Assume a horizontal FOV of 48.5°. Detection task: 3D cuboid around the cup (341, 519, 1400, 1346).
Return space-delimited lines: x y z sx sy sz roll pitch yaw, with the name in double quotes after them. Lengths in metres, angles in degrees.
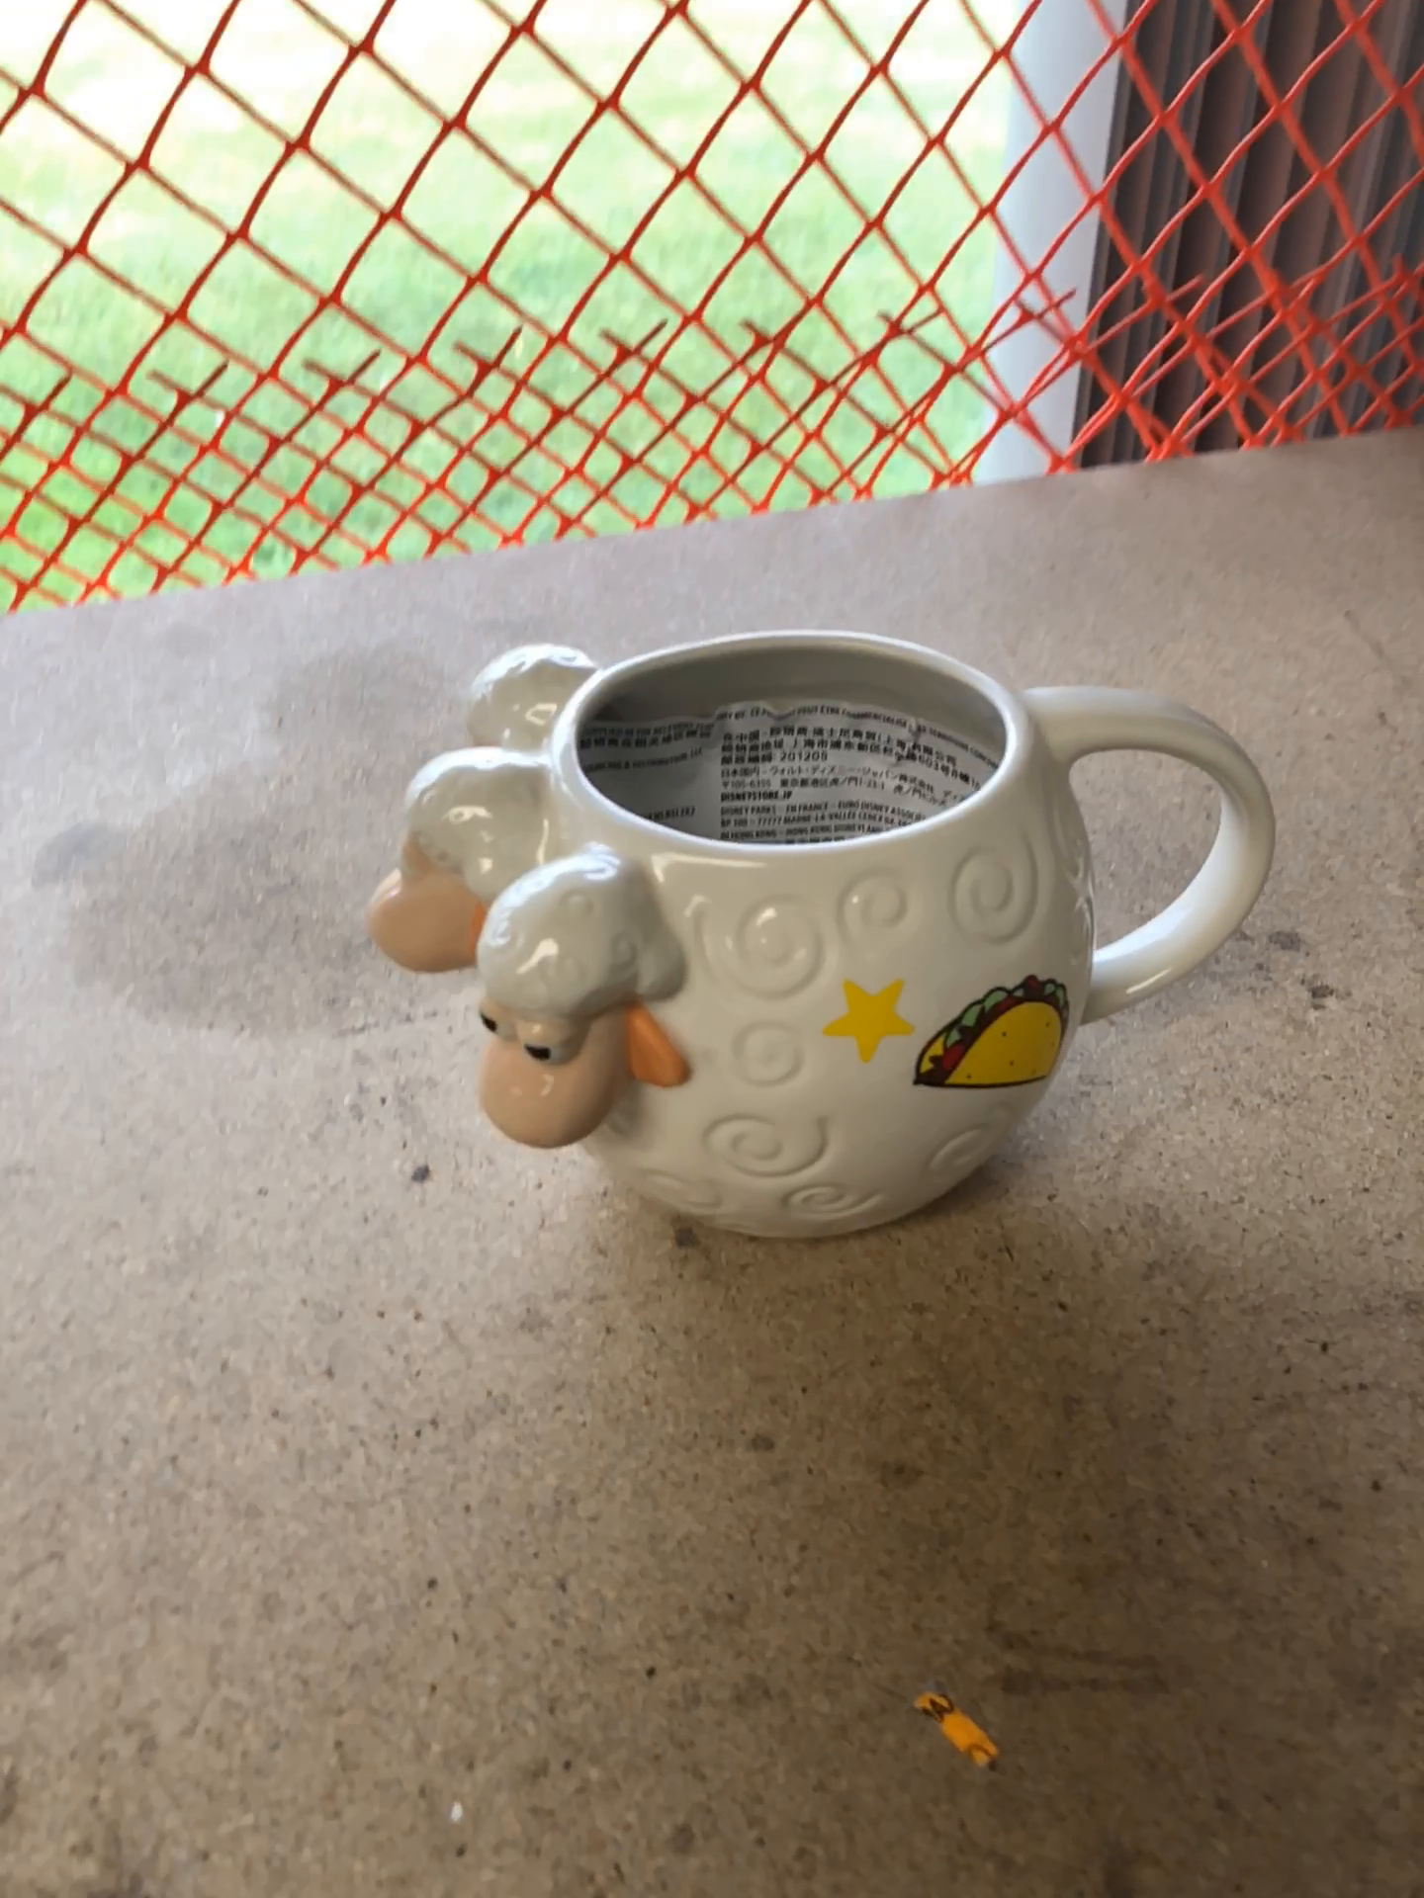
0.021 -0.007 0.274 0.146 0.090 0.076 -11 40 -11 "cup"
